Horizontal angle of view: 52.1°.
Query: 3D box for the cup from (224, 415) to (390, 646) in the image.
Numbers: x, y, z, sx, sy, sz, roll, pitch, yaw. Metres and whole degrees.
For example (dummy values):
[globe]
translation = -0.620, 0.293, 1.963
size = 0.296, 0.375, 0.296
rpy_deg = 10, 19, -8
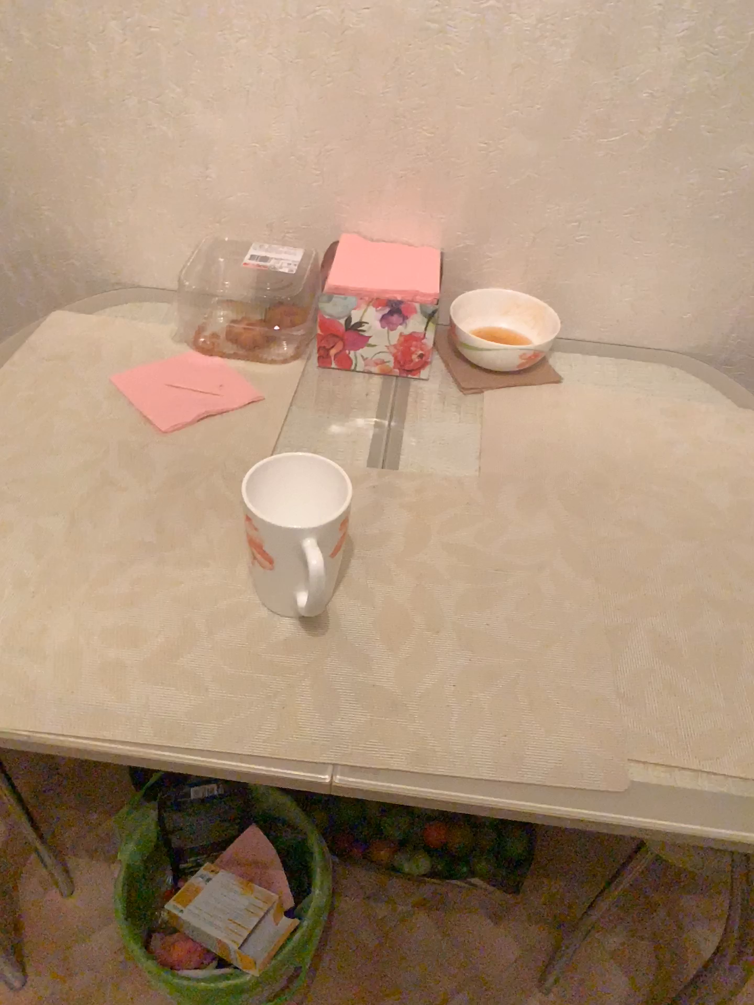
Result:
[cup]
translation = -0.054, 0.018, 0.559
size = 0.083, 0.099, 0.119
rpy_deg = -11, 45, -17
